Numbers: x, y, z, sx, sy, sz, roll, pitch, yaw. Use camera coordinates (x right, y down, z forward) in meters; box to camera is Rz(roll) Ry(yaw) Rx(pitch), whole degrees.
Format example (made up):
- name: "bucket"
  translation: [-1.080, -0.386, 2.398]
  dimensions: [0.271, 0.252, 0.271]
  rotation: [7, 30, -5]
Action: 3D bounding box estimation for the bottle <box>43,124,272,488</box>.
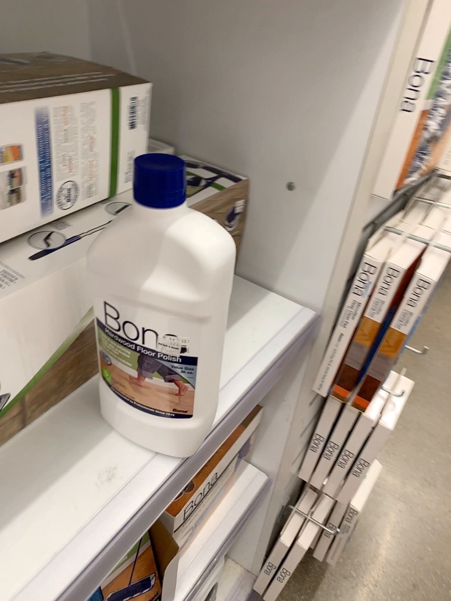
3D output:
- name: "bottle"
  translation: [-0.053, 0.017, 0.359]
  dimensions: [0.120, 0.259, 0.070]
  rotation: [19, 37, 16]
